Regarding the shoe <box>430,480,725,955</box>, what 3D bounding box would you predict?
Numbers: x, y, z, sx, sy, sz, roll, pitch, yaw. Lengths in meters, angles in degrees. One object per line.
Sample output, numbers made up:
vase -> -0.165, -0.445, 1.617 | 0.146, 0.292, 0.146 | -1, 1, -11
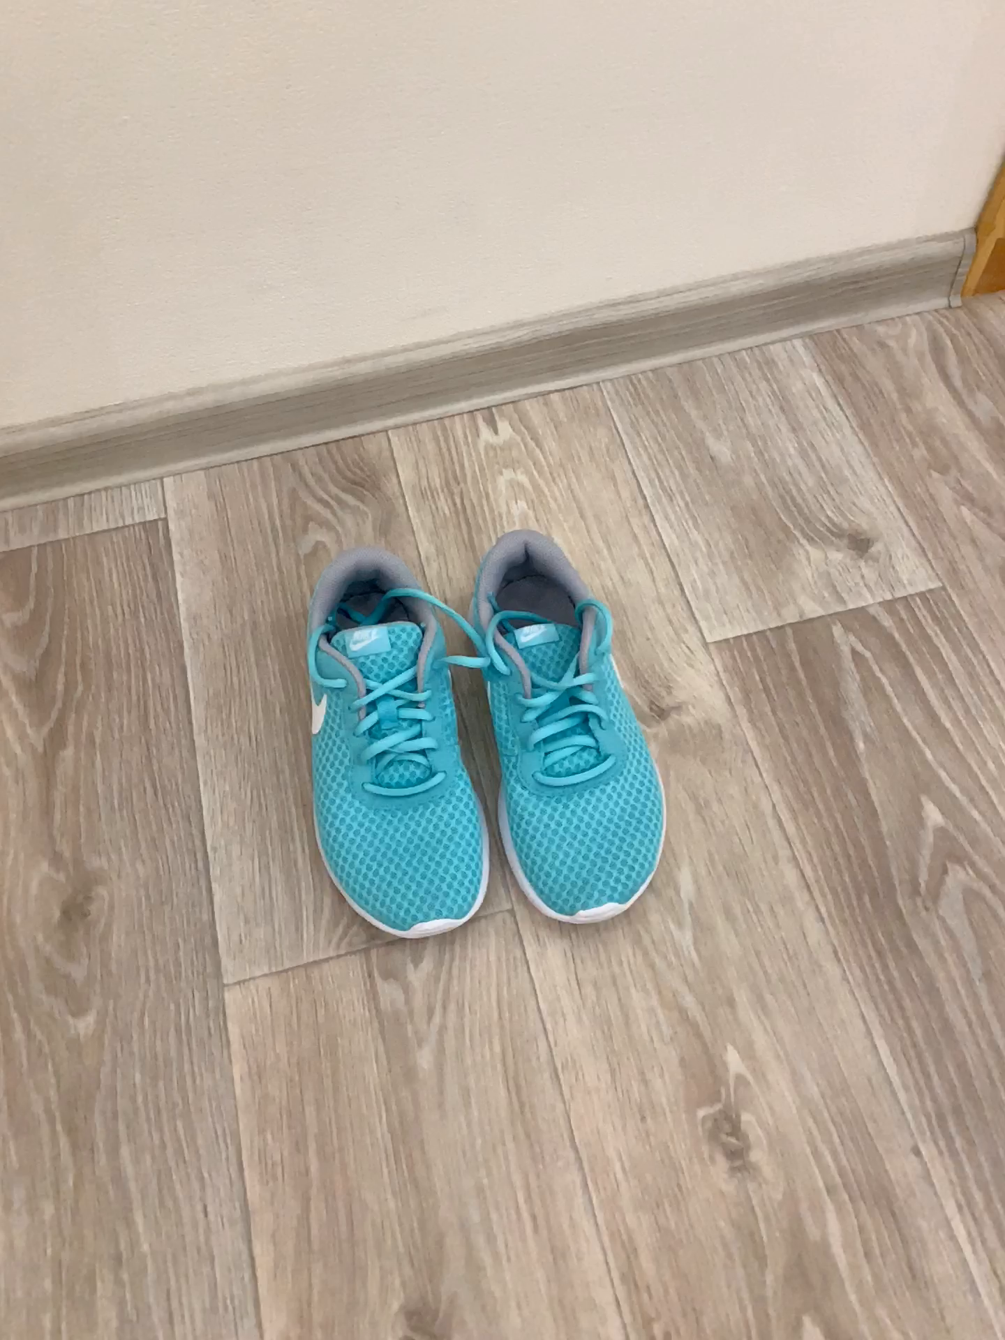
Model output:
shoe -> 0.034, 0.022, 0.604 | 0.098, 0.090, 0.251 | -12, 60, -5

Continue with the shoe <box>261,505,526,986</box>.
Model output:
shoe -> -0.066, 0.038, 0.600 | 0.101, 0.090, 0.251 | -12, 60, -5
